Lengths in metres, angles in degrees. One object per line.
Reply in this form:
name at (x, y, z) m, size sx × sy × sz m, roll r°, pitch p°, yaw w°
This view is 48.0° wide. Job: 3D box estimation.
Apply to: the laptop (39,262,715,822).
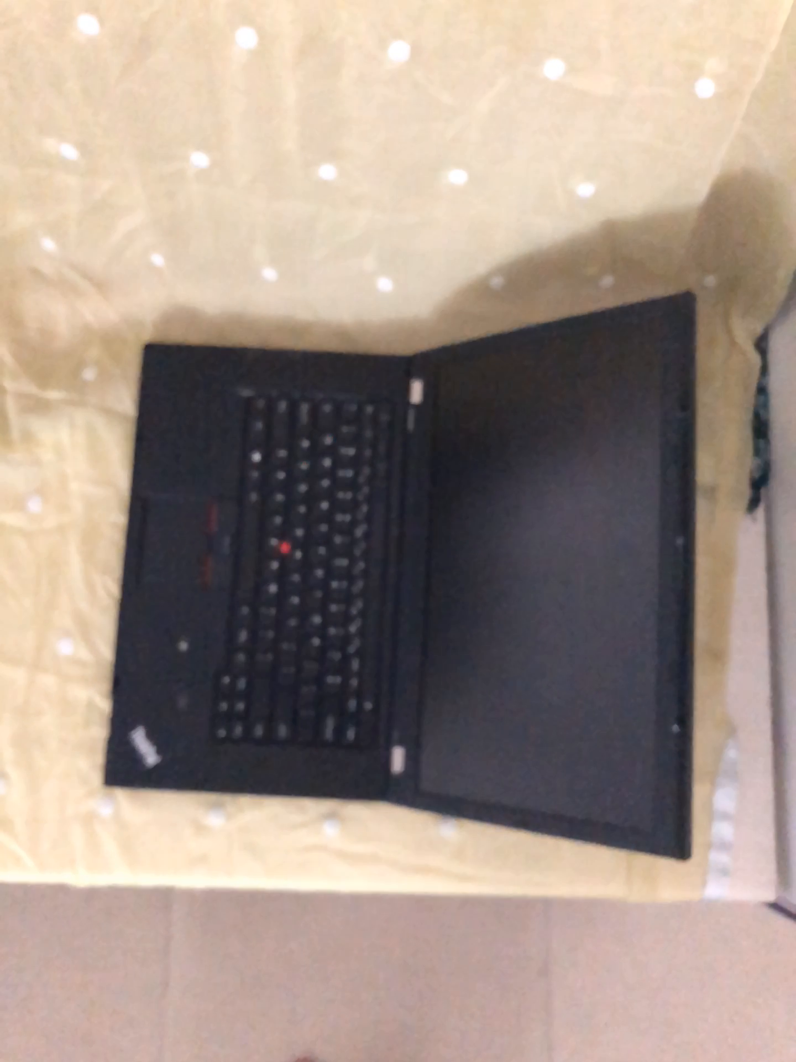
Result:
laptop at (-0.012, 0.009, 0.659) m, size 0.424 × 0.157 × 0.347 m, roll 3°, pitch 82°, yaw 3°
